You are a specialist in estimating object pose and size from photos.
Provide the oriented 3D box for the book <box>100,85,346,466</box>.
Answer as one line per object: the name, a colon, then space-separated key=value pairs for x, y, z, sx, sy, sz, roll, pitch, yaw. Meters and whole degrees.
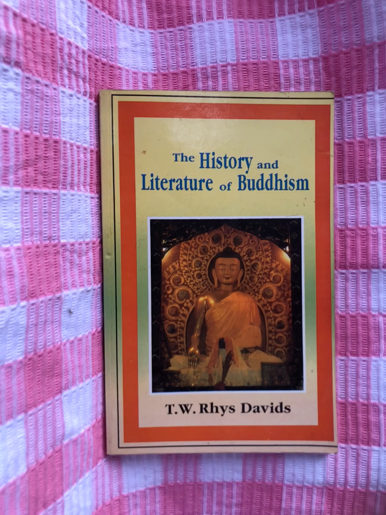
book: x=0.017 y=0.012 z=0.258 sx=0.020 sy=0.140 sz=0.220 roll=-64 pitch=154 yaw=-87
